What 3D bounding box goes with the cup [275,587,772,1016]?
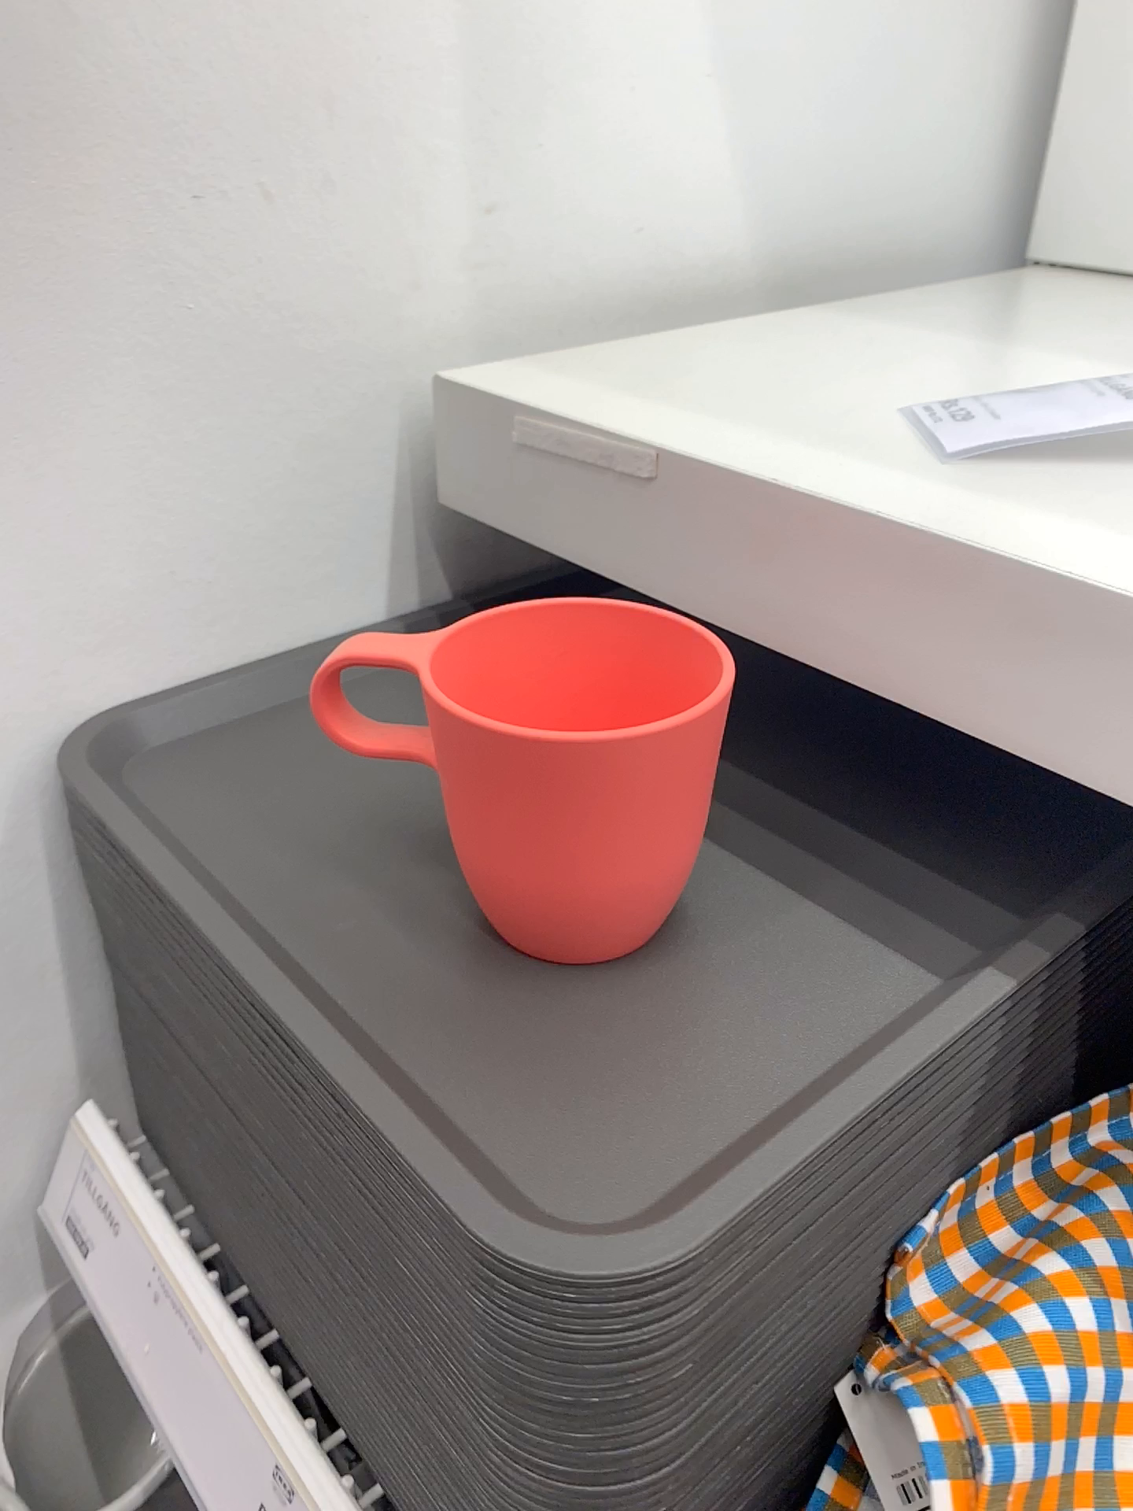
[{"bbox_3d":[-0.008,0.009,0.307,0.110,0.080,0.070,4,30,4],"label":"cup"}]
